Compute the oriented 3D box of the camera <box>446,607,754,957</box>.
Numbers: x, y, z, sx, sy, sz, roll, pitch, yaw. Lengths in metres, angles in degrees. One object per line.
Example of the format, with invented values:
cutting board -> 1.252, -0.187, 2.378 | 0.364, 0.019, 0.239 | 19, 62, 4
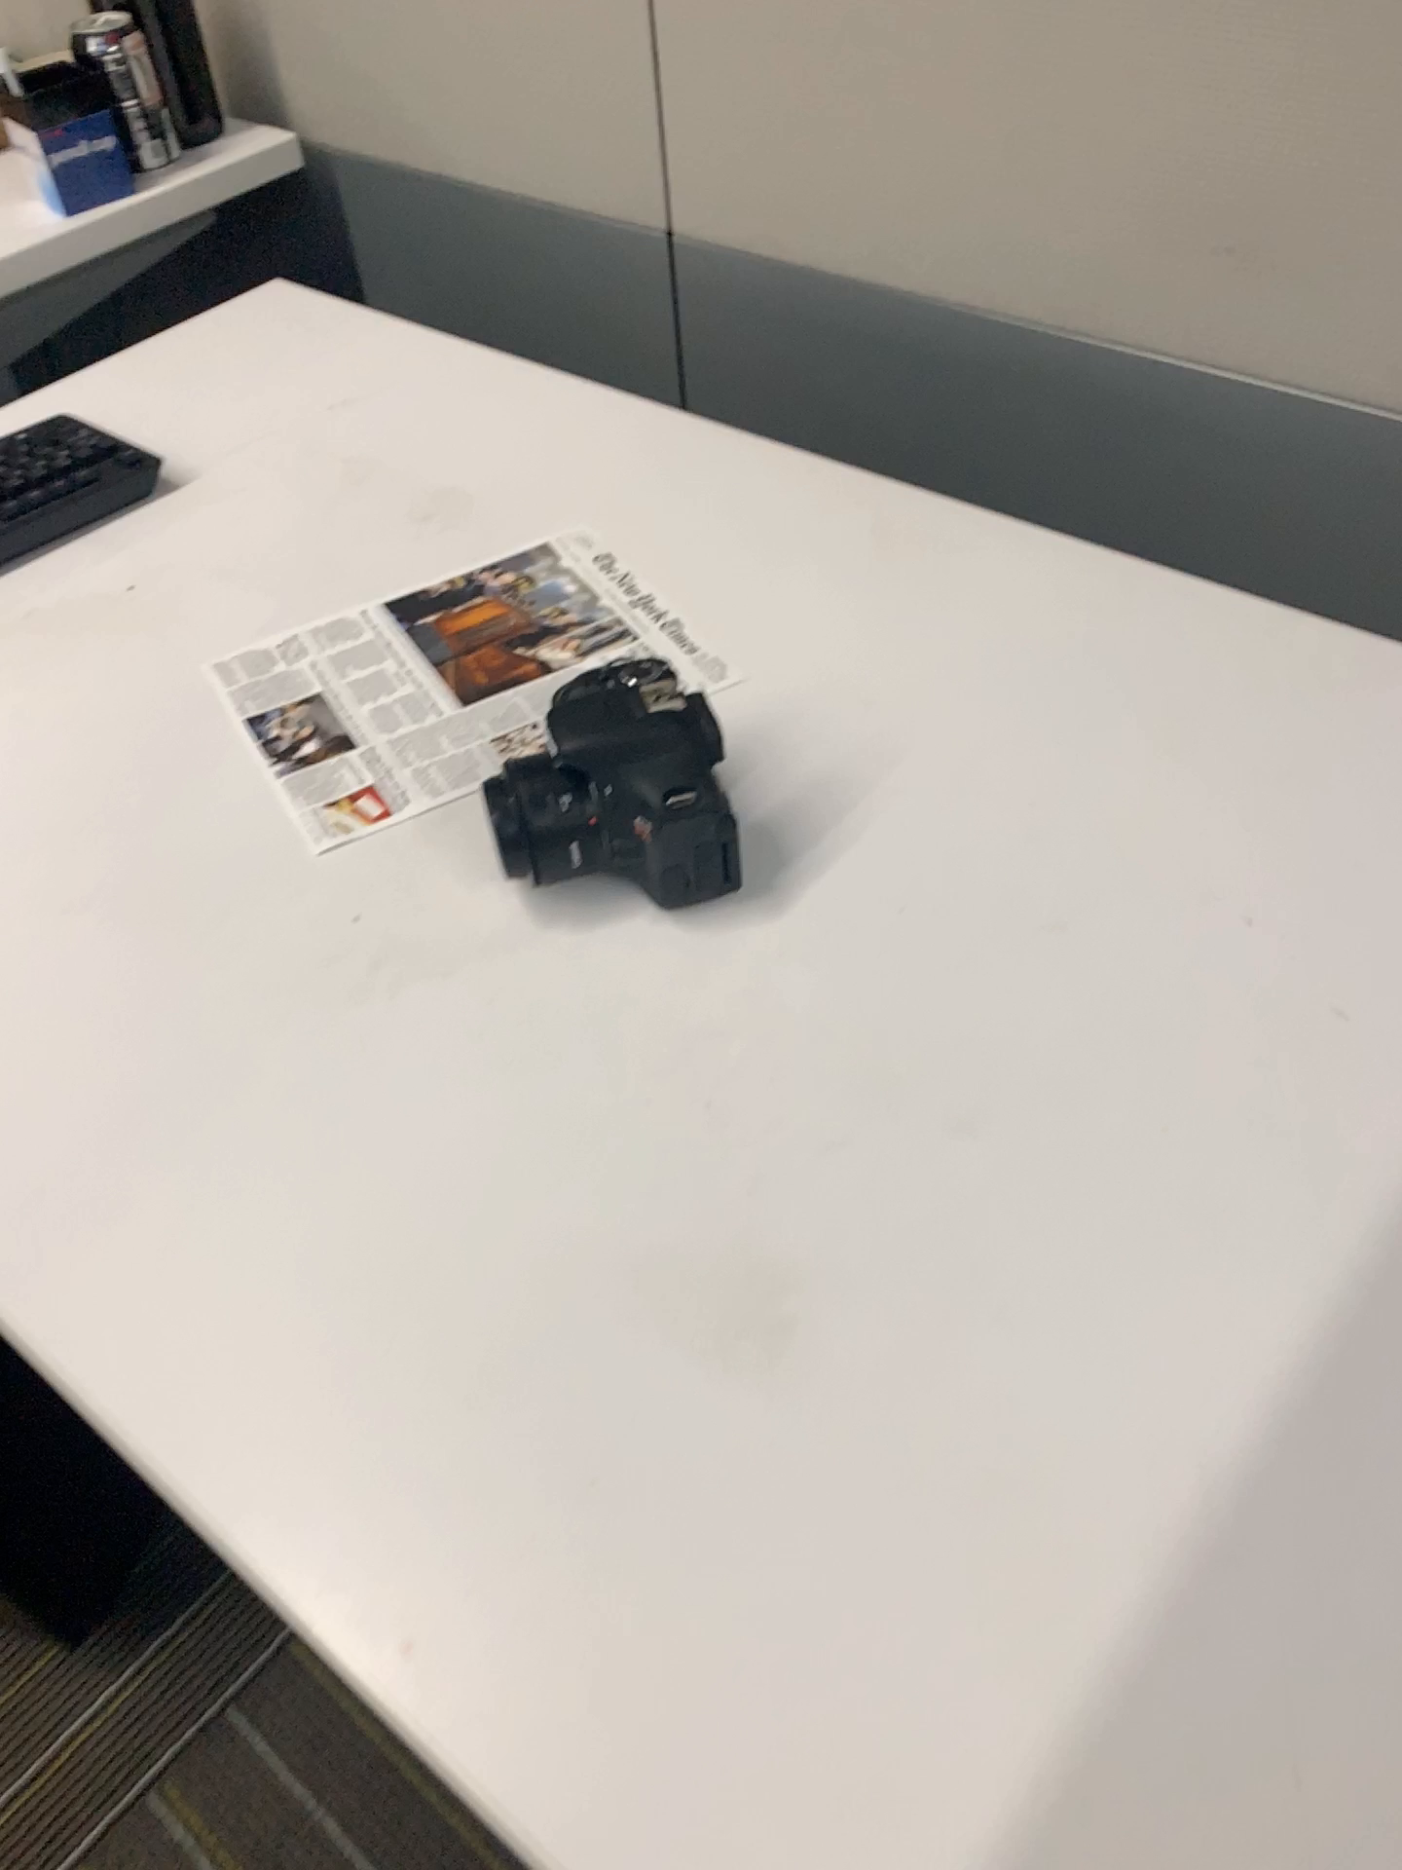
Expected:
camera -> -0.053, -0.082, 0.744 | 0.119, 0.090, 0.137 | -15, 47, -9
